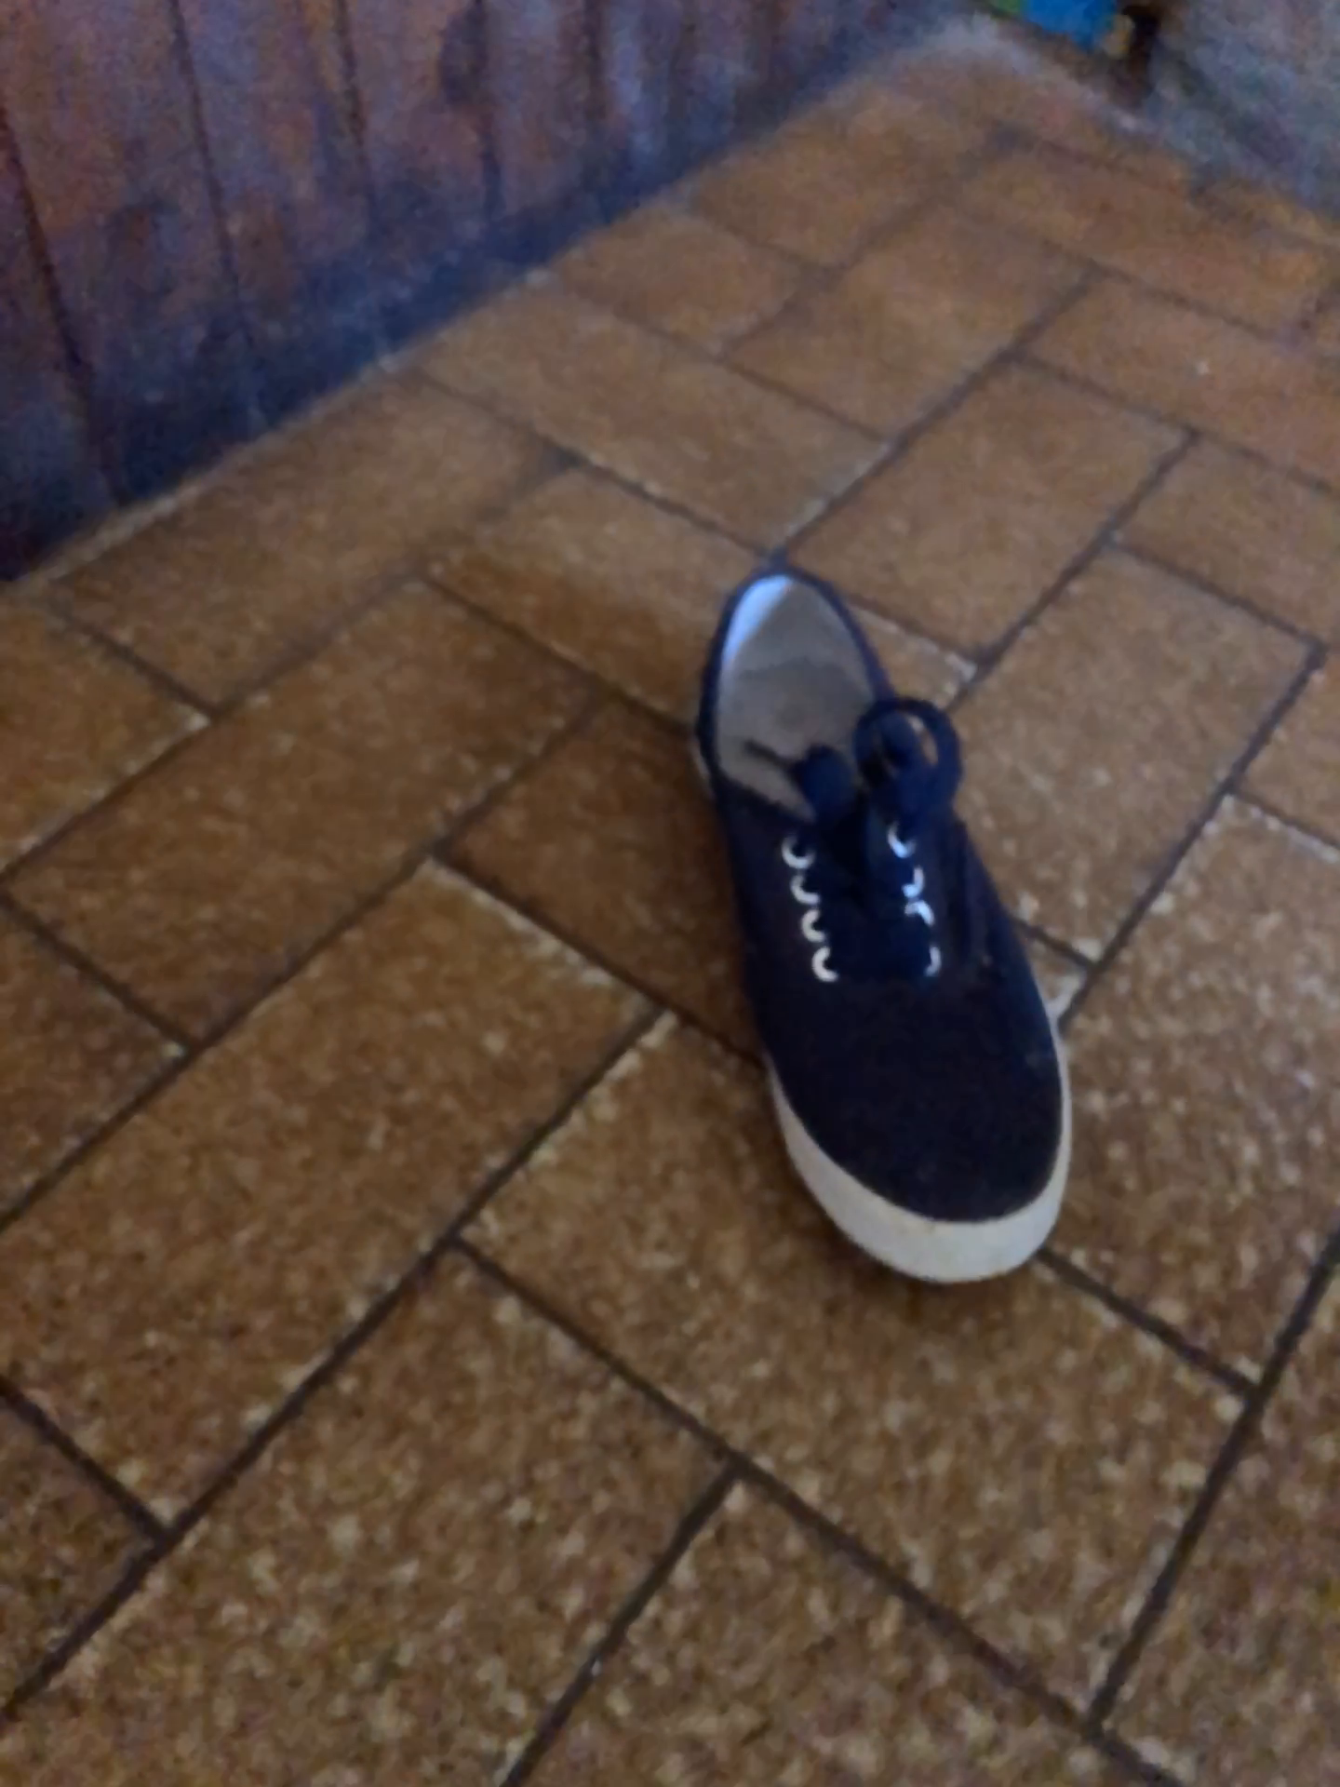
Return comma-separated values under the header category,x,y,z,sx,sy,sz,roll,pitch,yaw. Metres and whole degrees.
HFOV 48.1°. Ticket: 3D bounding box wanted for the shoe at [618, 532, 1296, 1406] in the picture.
category,x,y,z,sx,sy,sz,roll,pitch,yaw
shoe,0.062,0.006,0.429,0.100,0.070,0.241,-9,53,-11
